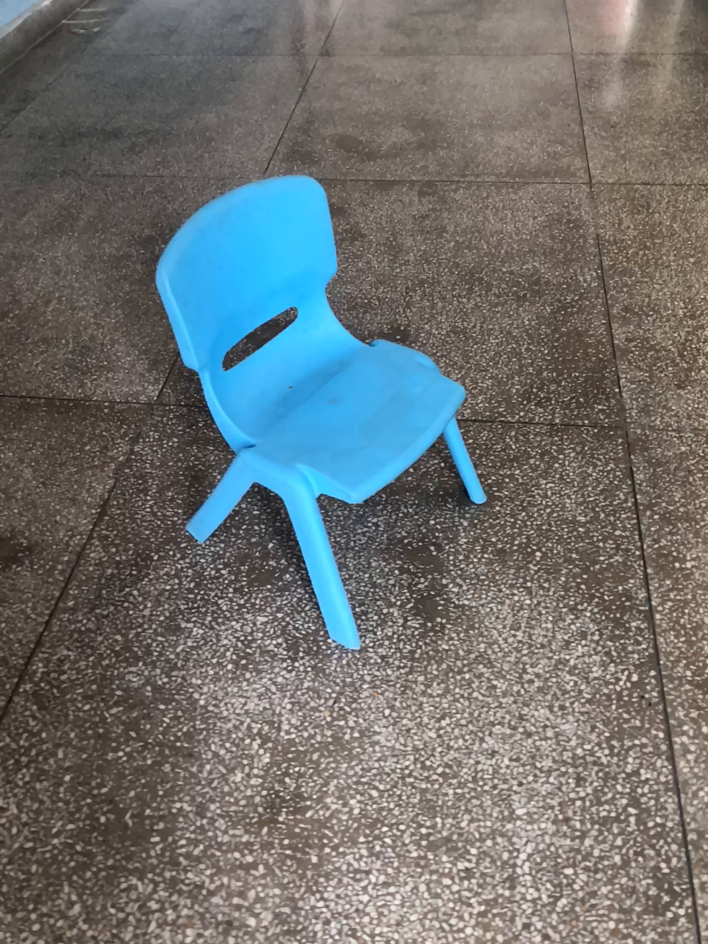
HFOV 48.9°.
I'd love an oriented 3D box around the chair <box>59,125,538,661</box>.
[{"bbox_3d":[-0.049,-0.111,1.061,0.391,0.498,0.381,28,53,27],"label":"chair"}]
